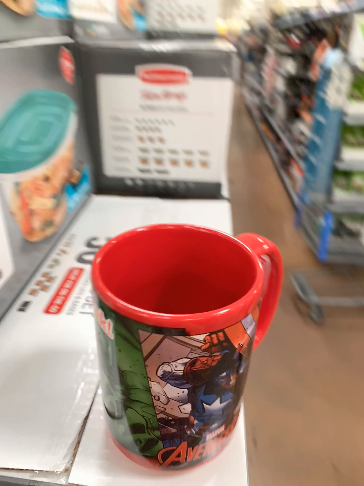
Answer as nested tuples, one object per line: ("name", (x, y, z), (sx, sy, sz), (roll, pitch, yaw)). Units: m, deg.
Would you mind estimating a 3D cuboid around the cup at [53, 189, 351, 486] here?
("cup", (0.005, 0.051, 0.229), (0.119, 0.114, 0.100), (-18, 39, -31))
